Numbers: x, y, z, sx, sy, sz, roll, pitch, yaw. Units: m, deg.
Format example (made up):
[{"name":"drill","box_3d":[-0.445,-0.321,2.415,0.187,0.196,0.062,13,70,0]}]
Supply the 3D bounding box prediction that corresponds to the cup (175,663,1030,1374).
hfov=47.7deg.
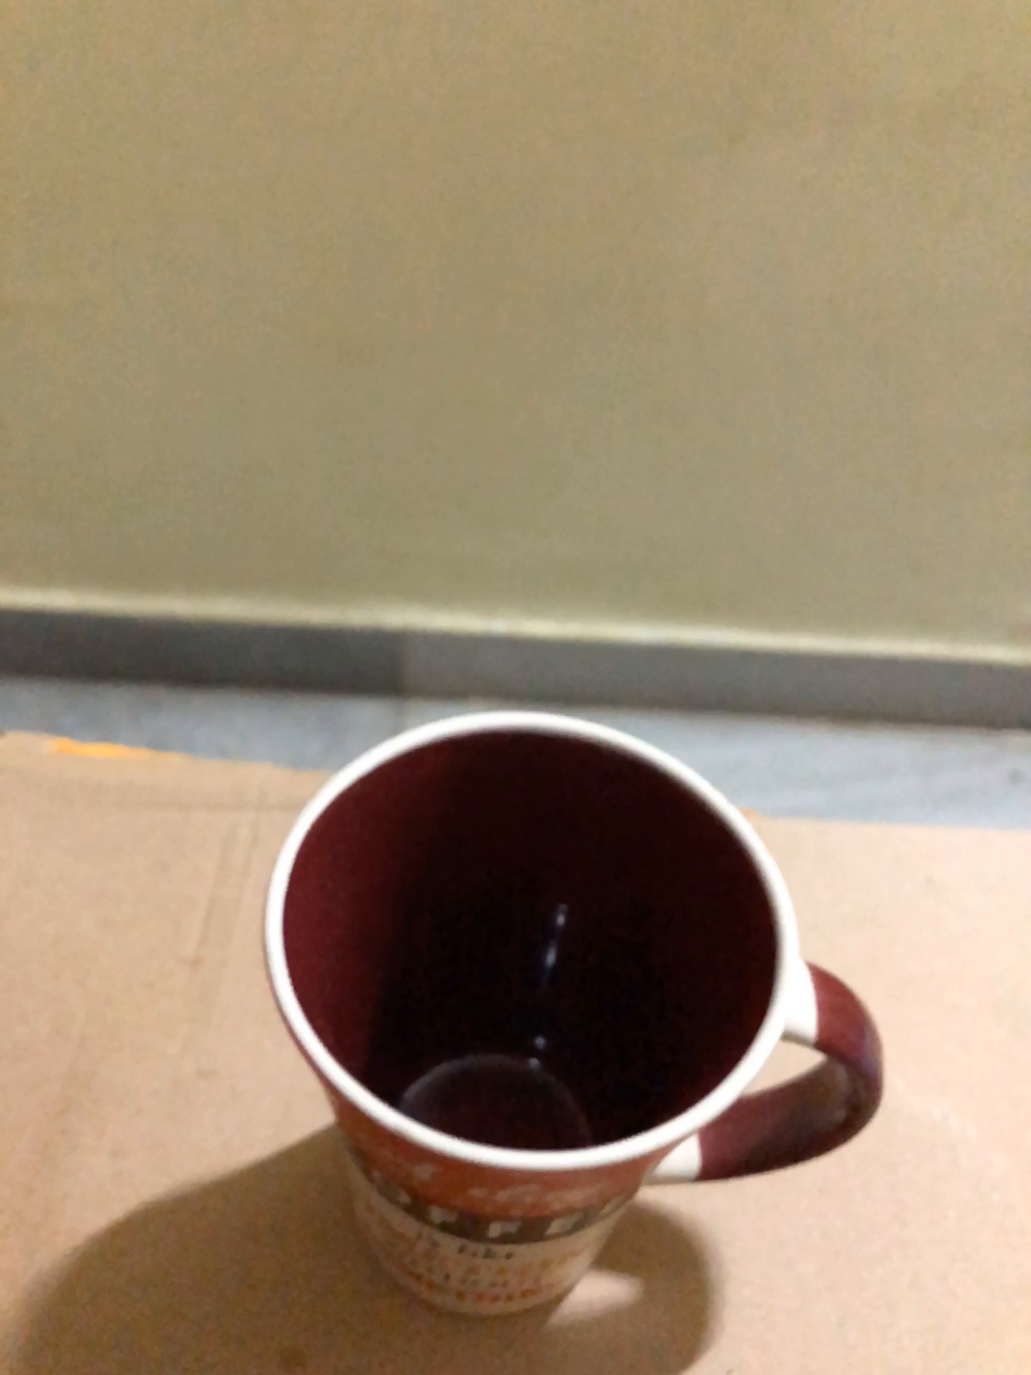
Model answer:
[{"name":"cup","box_3d":[0.015,0.074,0.246,0.130,0.110,0.100,5,42,1]}]
